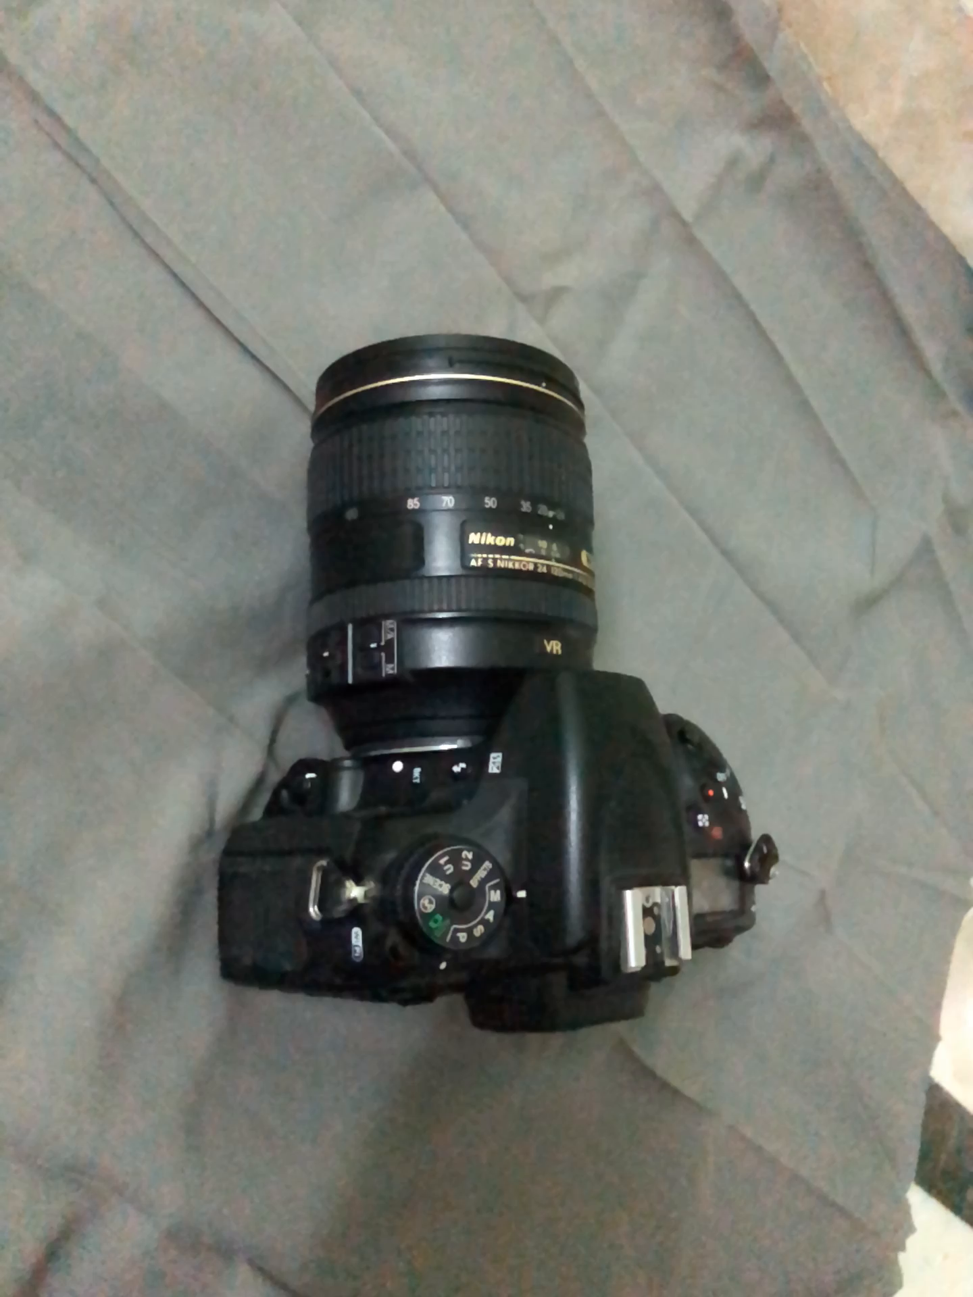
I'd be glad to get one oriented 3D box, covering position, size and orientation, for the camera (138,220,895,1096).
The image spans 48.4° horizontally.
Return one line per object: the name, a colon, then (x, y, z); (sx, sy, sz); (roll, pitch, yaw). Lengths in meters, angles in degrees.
camera: (0.003, 0.011, 0.297); (0.146, 0.134, 0.163); (5, 78, -41)
